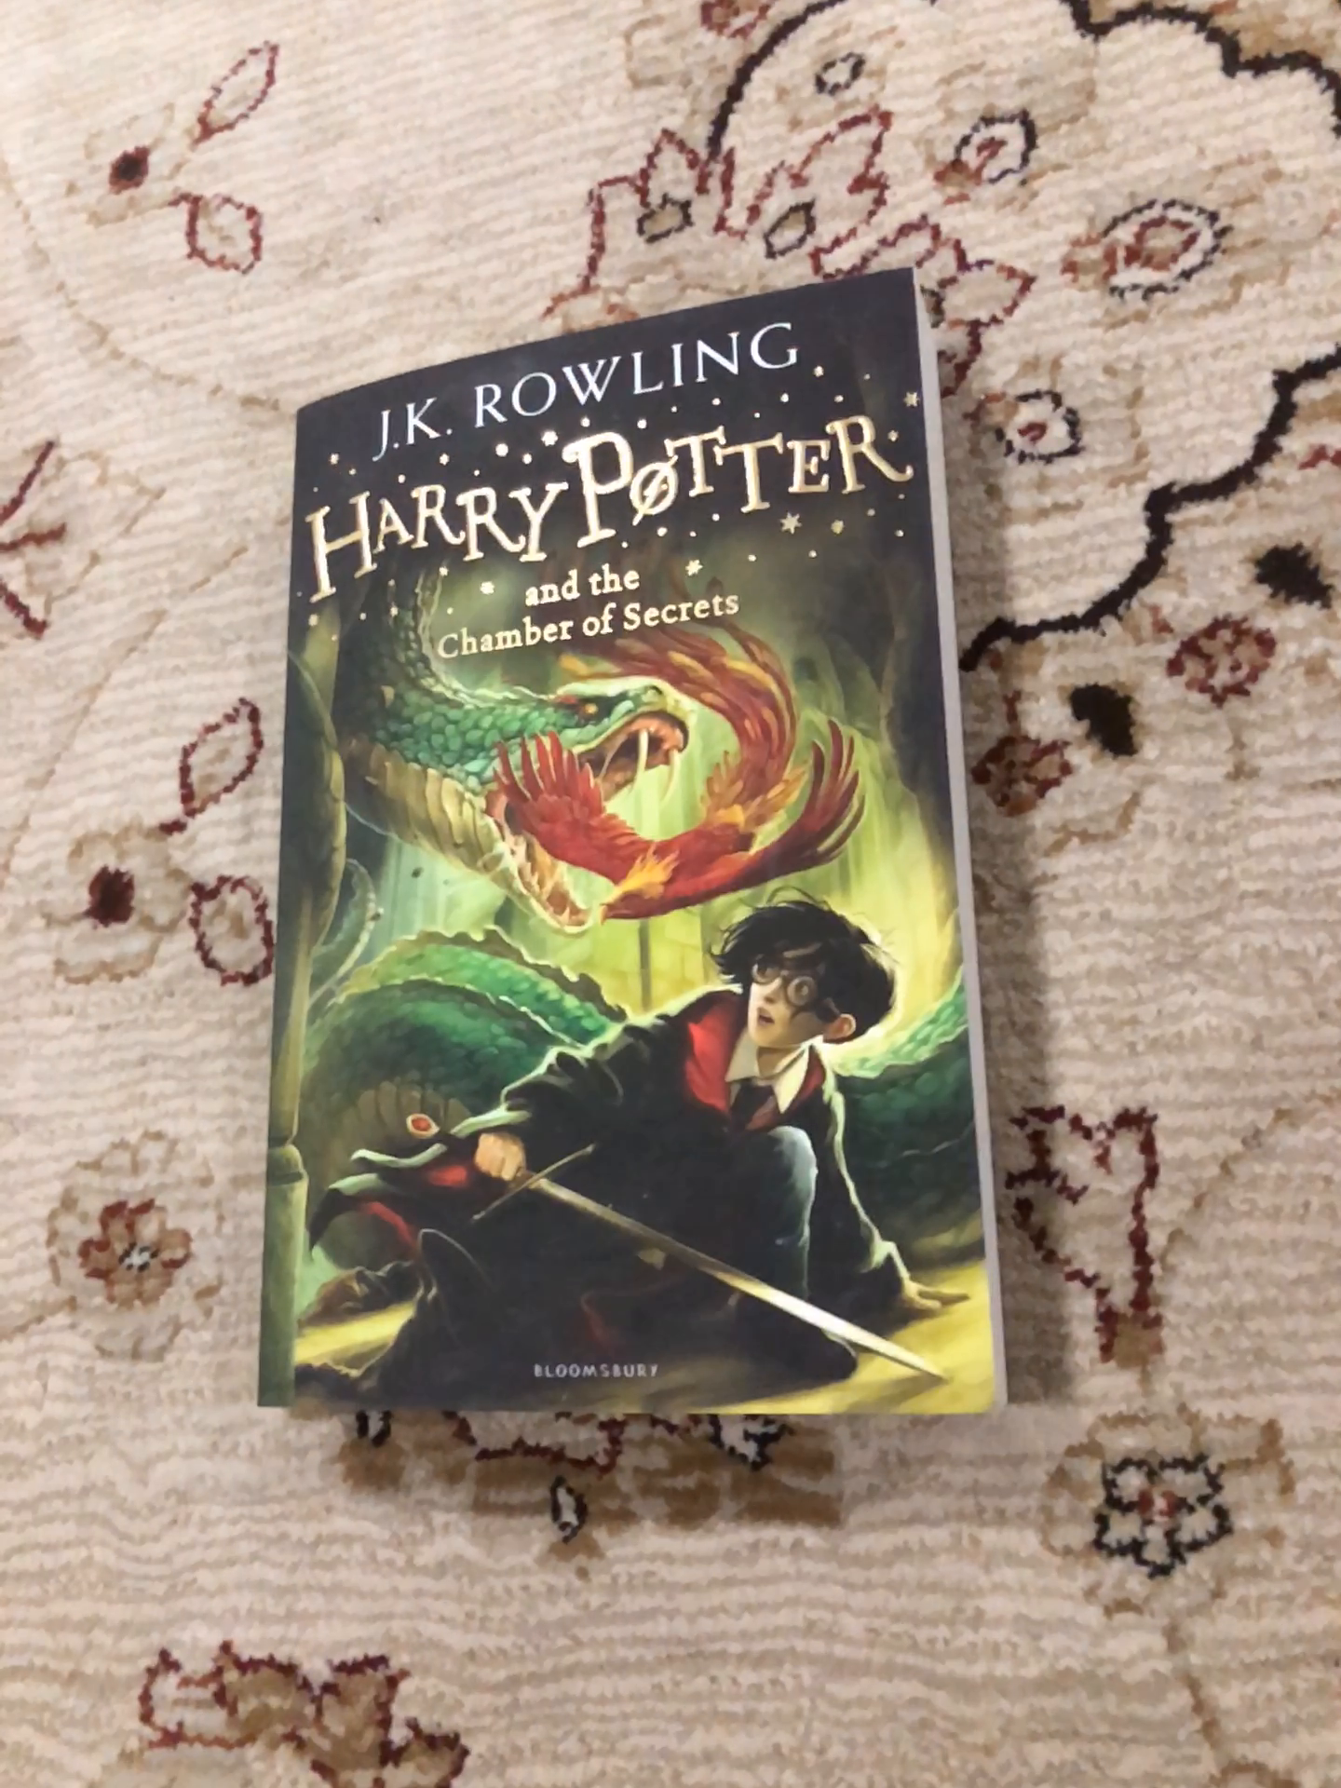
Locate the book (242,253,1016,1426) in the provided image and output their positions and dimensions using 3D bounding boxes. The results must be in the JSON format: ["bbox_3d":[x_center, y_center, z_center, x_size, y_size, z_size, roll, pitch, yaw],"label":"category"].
[{"bbox_3d":[-0.011,-0.008,0.279,0.131,0.030,0.200,-6,75,19],"label":"book"}]
